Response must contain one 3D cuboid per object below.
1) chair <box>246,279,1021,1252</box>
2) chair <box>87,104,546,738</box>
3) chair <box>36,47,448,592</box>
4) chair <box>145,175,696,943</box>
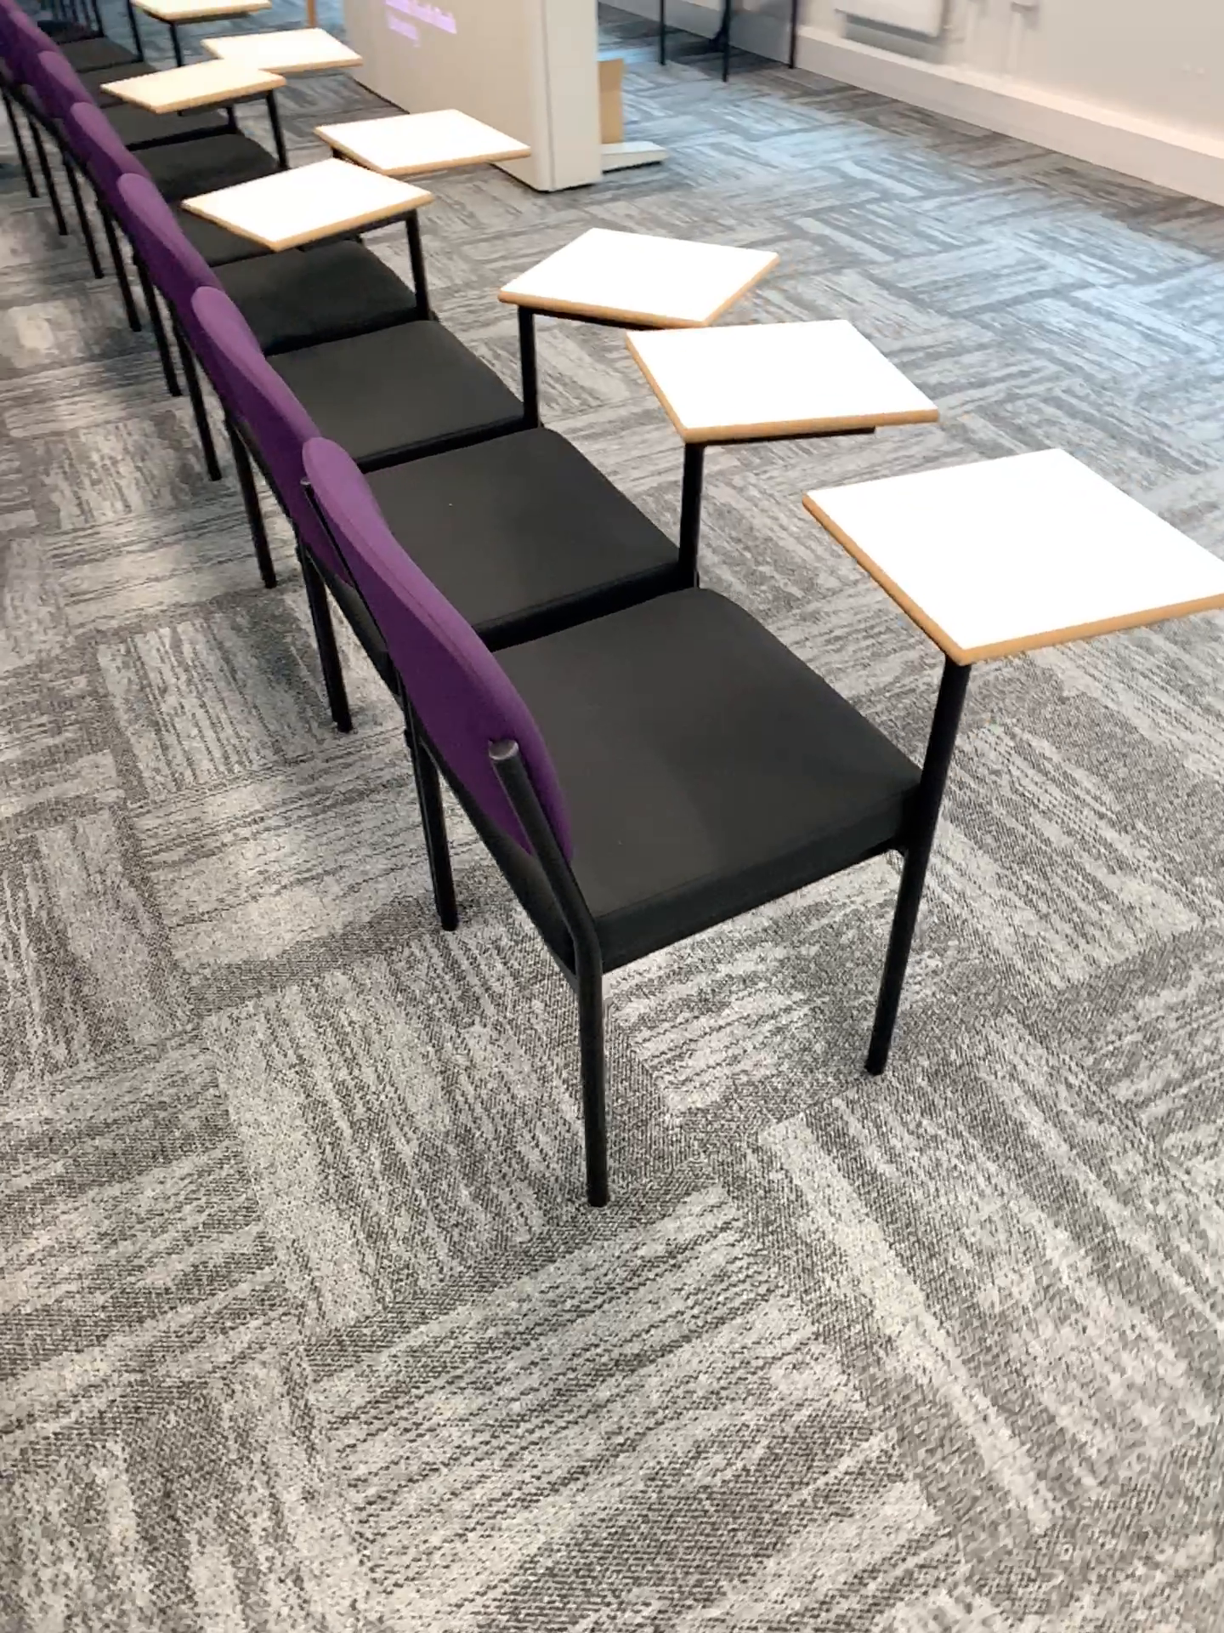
[{"bbox_3d":[0.001,-0.053,1.358,0.501,0.801,0.520,-20,45,-19],"label":"chair"},{"bbox_3d":[-0.462,-0.657,2.064,0.481,0.791,0.520,-20,45,-19],"label":"chair"},{"bbox_3d":[-0.695,-0.969,2.418,0.501,0.791,0.520,-20,45,-19],"label":"chair"},{"bbox_3d":[-0.233,-0.352,1.707,0.491,0.791,0.520,-20,45,-19],"label":"chair"}]
